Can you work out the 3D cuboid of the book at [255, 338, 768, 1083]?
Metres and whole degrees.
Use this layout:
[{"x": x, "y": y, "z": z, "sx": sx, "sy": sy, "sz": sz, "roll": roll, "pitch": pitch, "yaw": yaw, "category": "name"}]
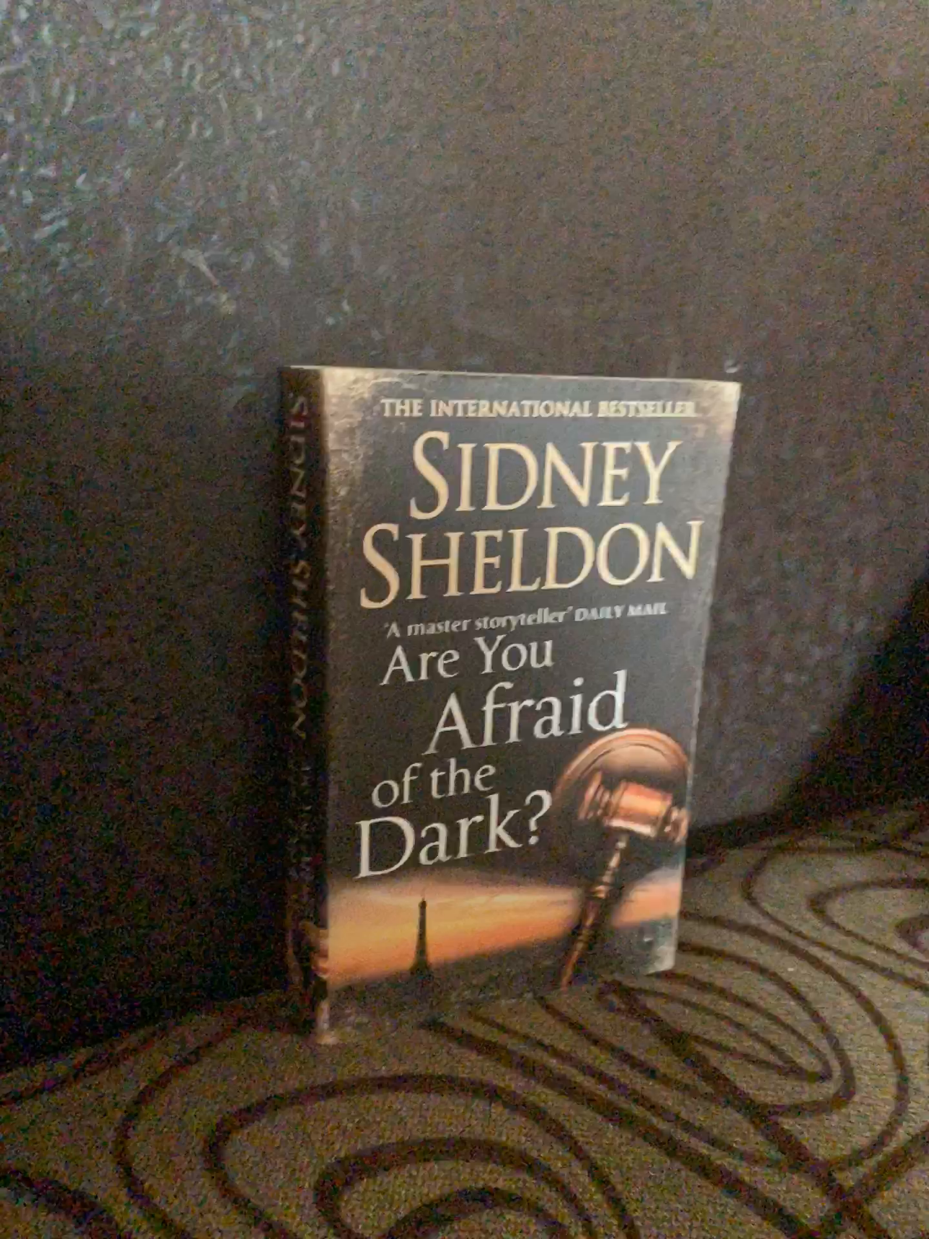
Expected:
[{"x": 0.010, "y": 0.021, "z": 0.267, "sx": 0.120, "sy": 0.179, "sz": 0.040, "roll": -2, "pitch": 14, "yaw": -27, "category": "book"}]
